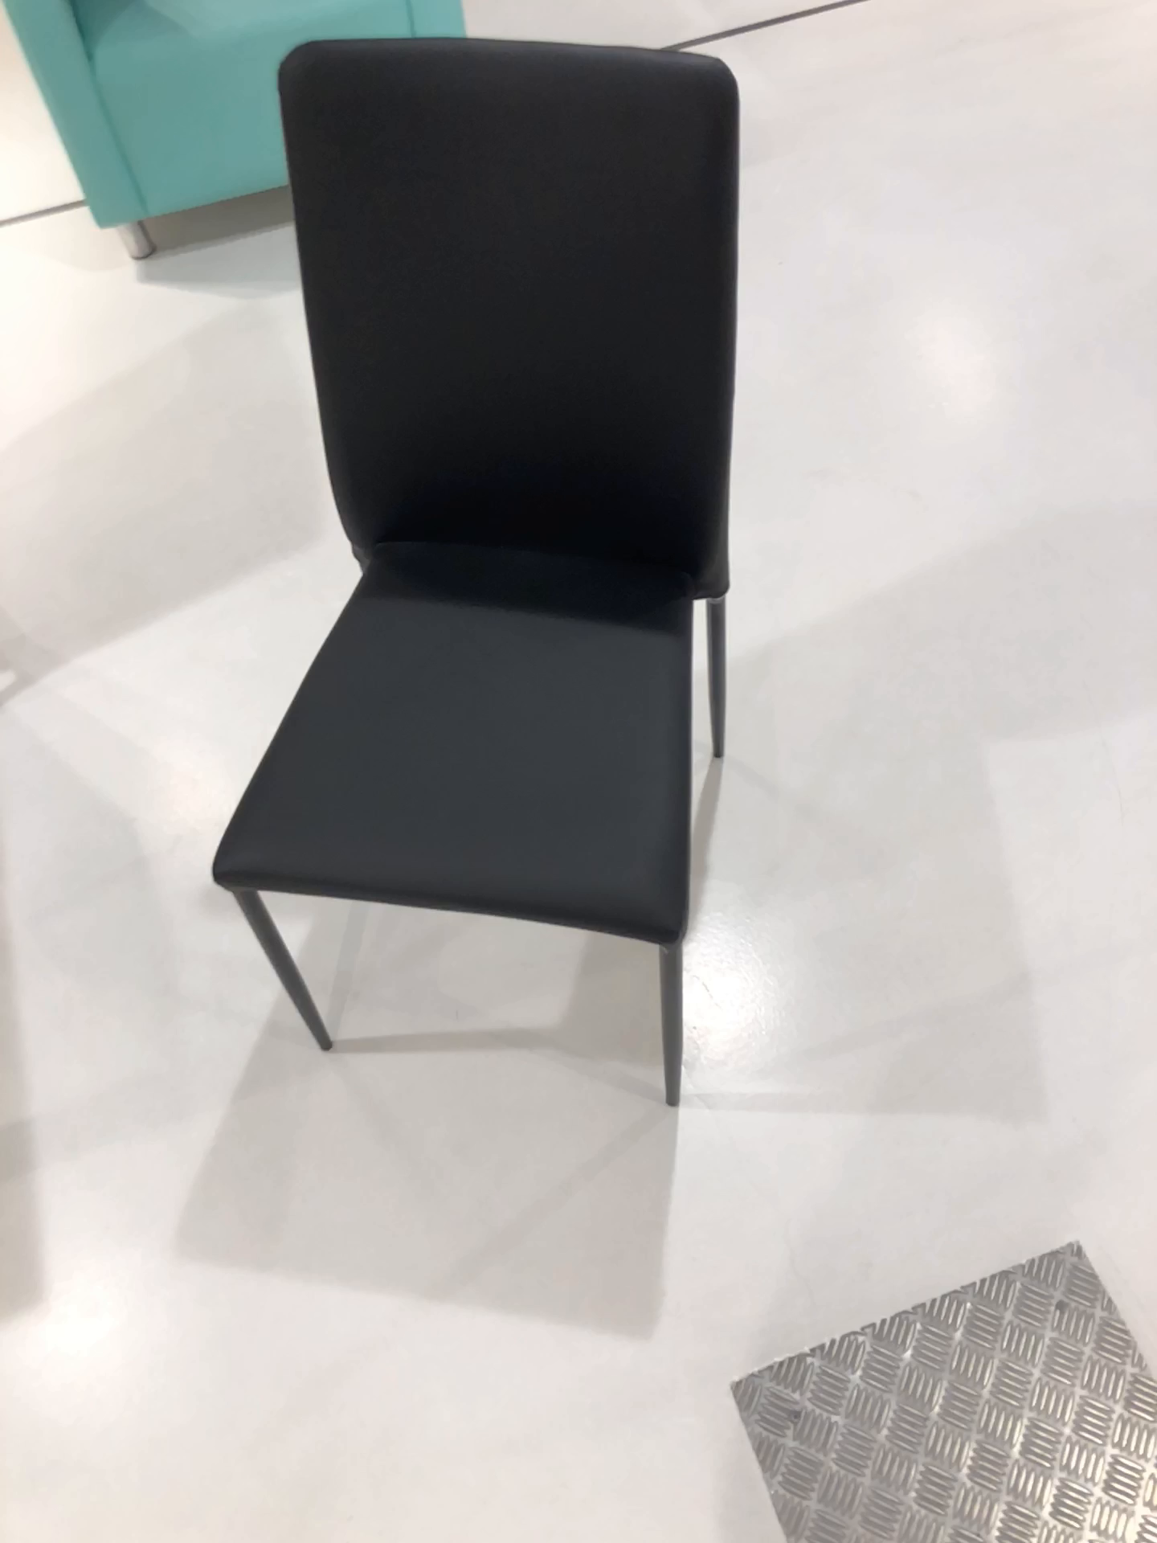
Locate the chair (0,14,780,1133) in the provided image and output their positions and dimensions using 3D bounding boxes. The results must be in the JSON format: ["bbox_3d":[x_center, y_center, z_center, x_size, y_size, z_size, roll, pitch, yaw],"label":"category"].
[{"bbox_3d":[-0.086,-0.111,1.205,0.450,0.866,0.603,6,58,8],"label":"chair"}]
